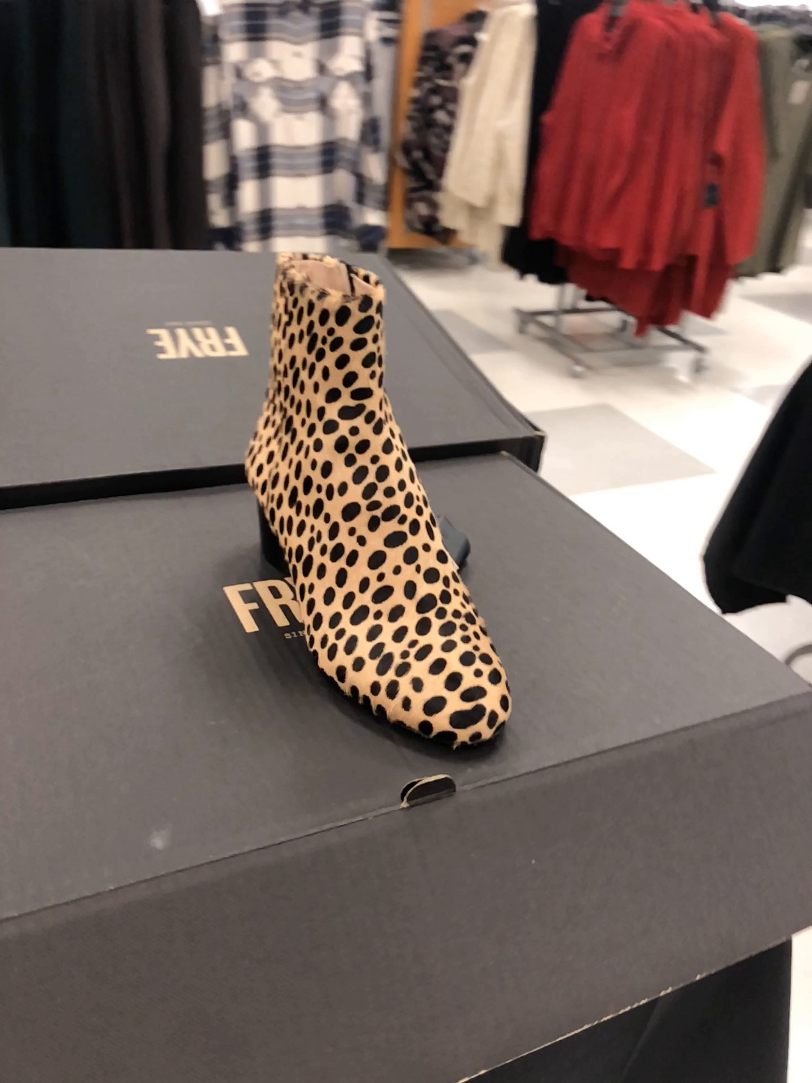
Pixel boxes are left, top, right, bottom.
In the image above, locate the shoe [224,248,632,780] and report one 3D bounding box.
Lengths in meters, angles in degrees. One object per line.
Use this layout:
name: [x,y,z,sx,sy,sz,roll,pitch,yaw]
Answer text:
shoe: [-0.015,-0.036,0.457,0.093,0.164,0.249,-8,32,-24]
